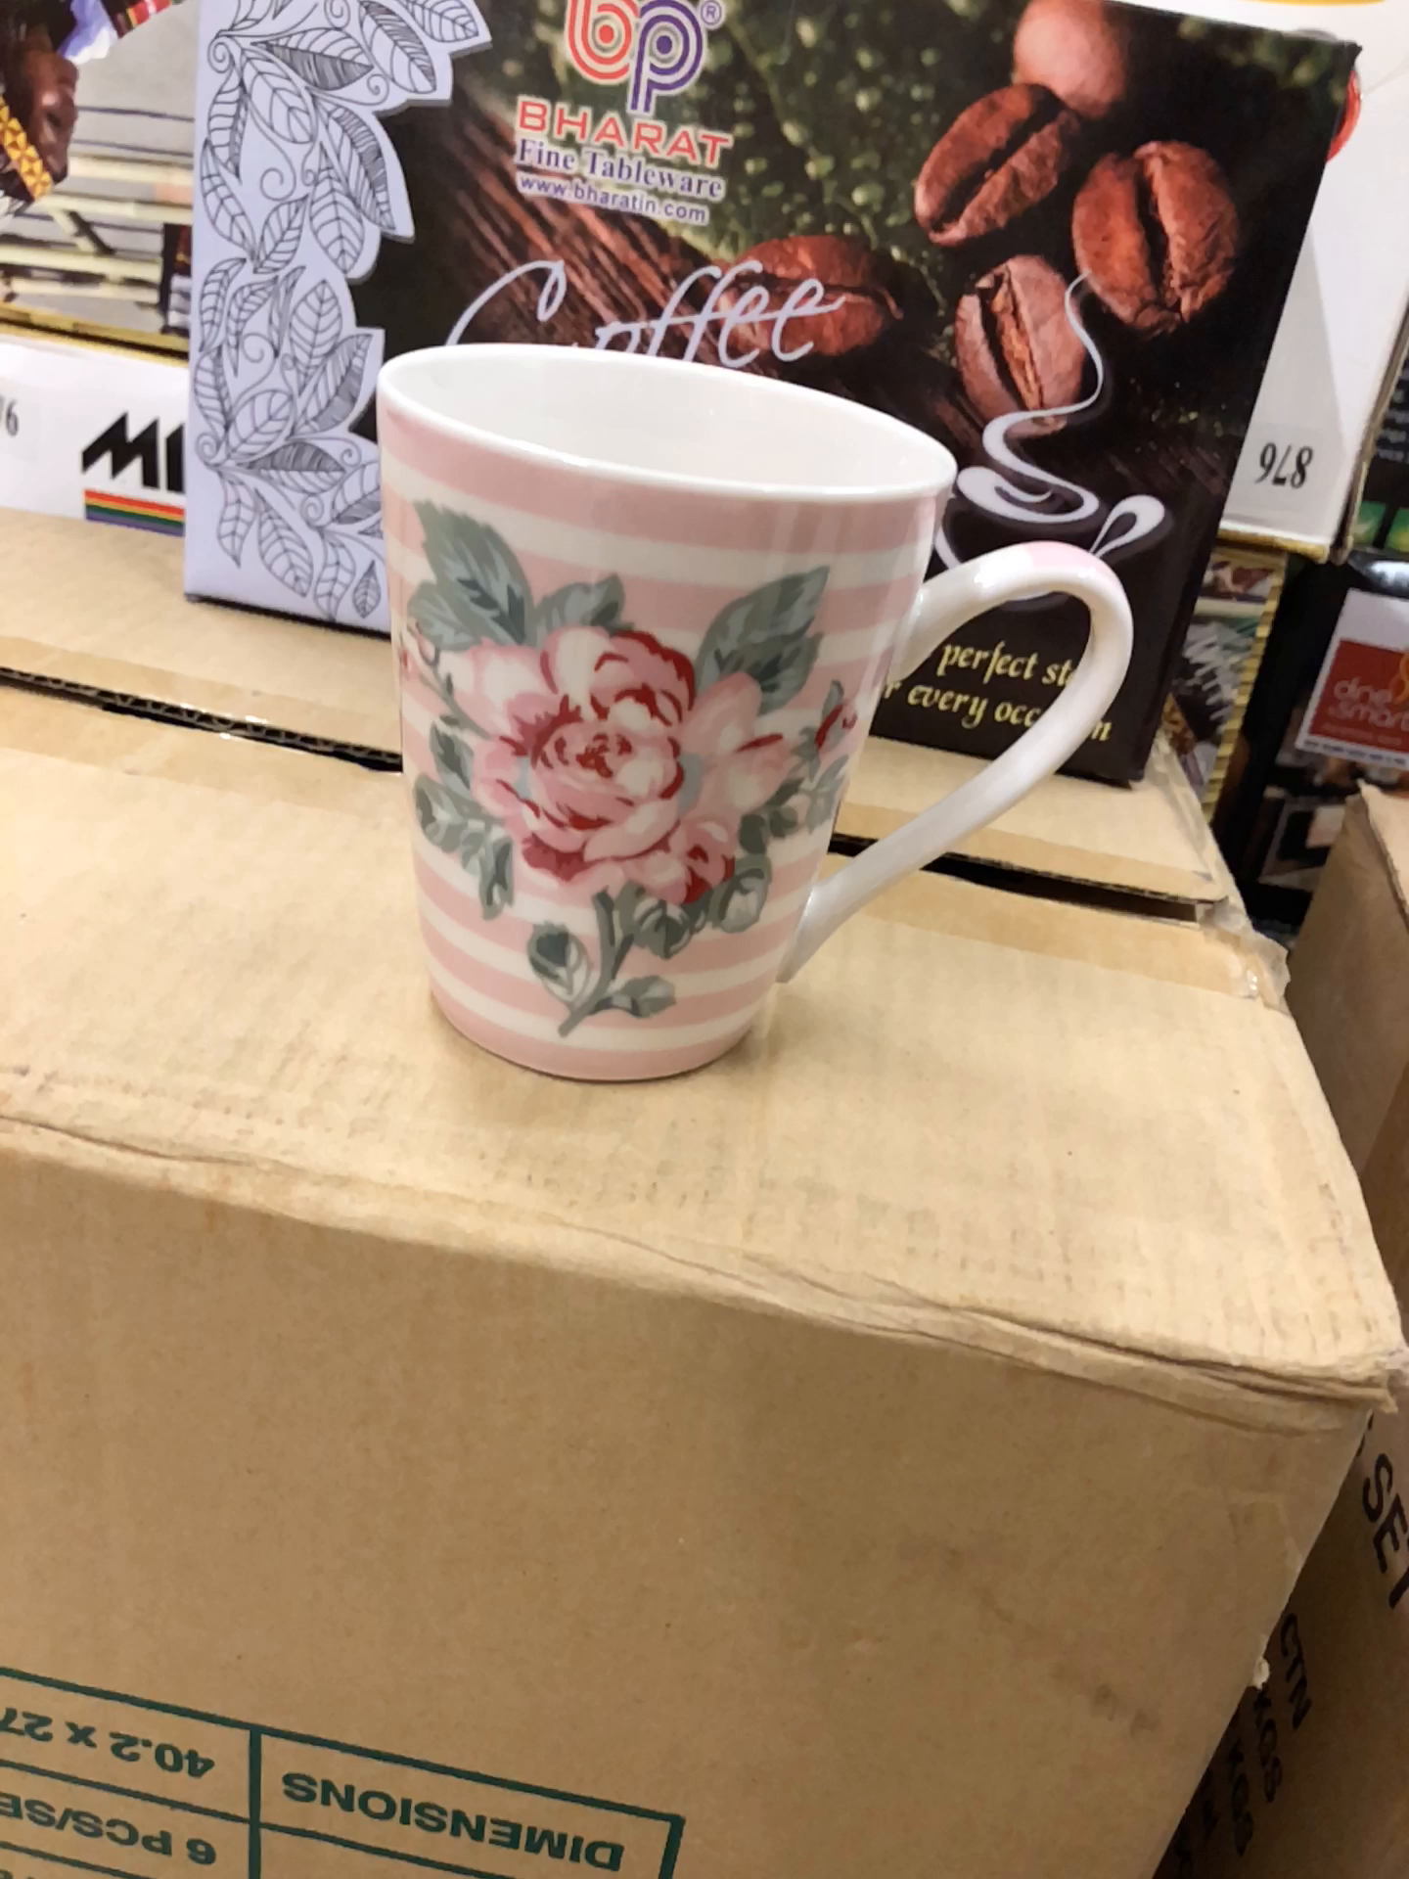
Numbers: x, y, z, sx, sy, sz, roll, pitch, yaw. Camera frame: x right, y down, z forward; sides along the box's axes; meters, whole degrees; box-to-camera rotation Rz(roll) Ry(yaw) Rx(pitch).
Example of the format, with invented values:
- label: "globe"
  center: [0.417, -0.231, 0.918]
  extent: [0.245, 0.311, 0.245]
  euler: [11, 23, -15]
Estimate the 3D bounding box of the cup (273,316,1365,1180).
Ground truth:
- label: "cup"
  center: [0.010, -0.034, 0.247]
  extent: [0.130, 0.089, 0.091]
  euler: [8, 28, -3]
